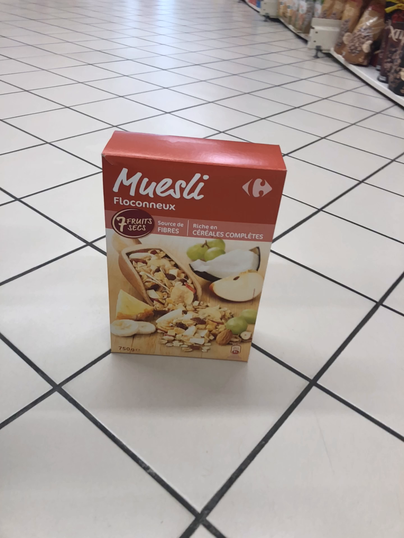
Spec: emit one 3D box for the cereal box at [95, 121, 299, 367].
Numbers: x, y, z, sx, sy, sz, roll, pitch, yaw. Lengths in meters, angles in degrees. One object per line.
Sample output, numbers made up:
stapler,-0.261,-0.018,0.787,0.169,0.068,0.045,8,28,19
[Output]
cereal box,-0.012,-0.016,0.468,0.170,0.238,0.081,5,35,-1
